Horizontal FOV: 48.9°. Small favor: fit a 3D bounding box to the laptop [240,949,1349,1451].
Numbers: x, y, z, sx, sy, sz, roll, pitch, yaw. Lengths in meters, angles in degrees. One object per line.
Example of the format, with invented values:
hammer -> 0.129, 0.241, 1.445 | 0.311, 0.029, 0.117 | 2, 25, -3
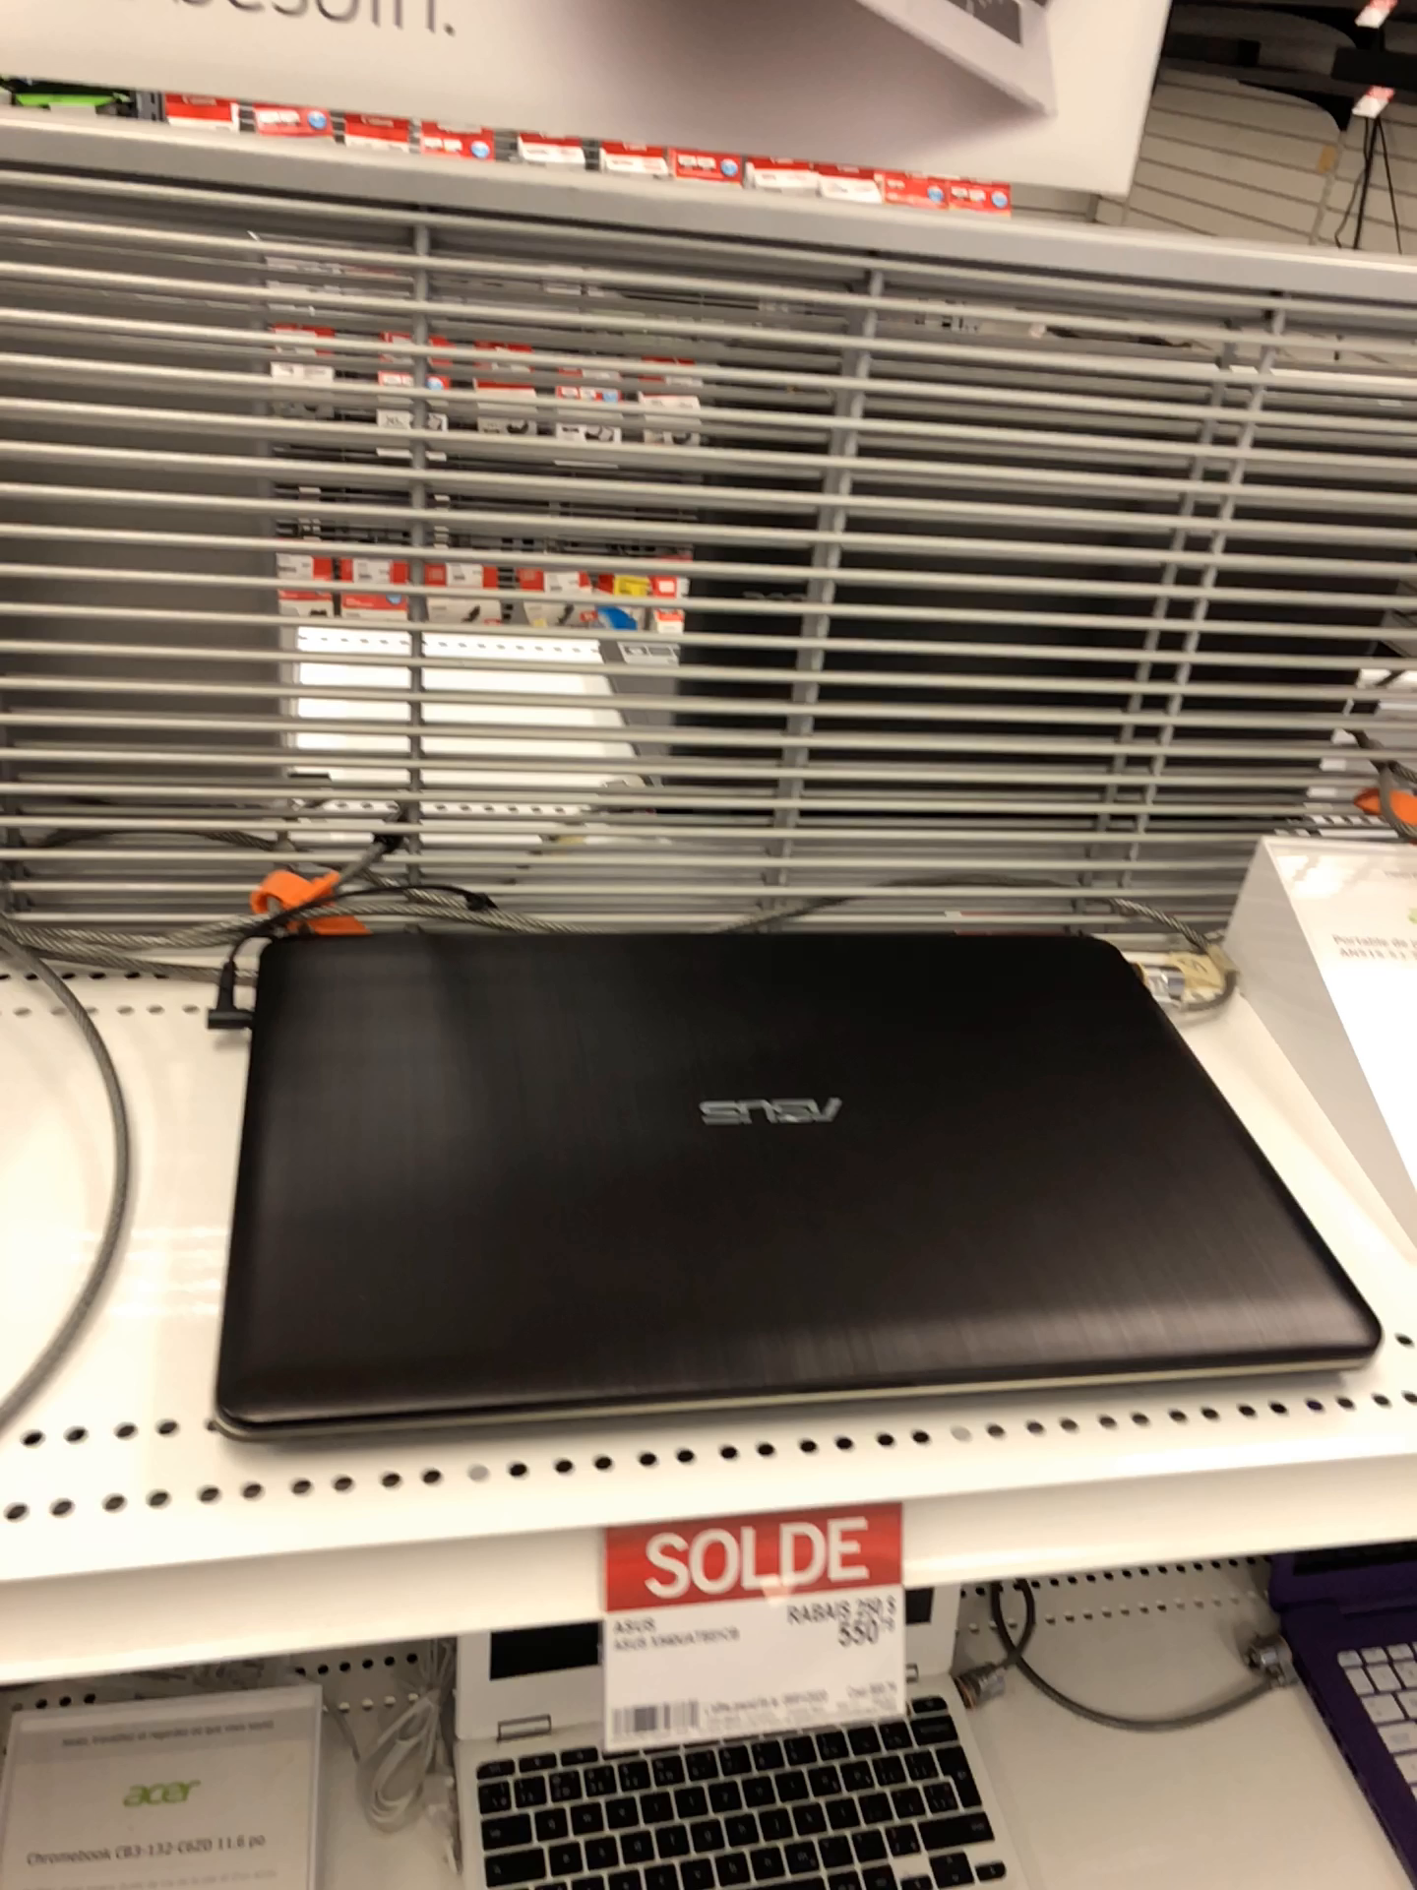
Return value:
laptop -> 0.024, 0.075, 0.588 | 0.367, 0.013, 0.235 | 1, 34, -15
